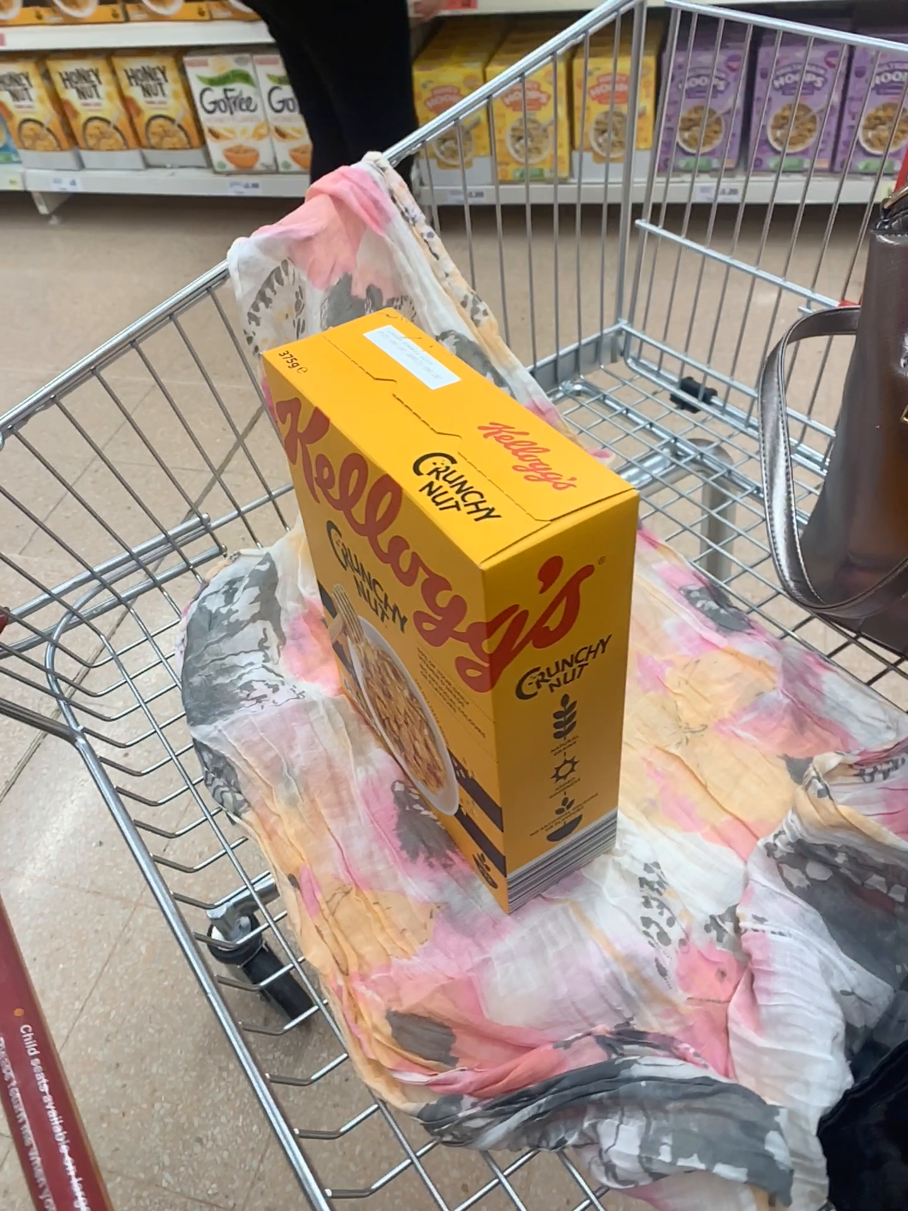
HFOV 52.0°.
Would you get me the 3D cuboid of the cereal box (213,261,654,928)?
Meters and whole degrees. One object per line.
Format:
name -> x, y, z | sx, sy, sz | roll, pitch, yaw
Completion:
cereal box -> -0.009, -0.002, 0.468 | 0.080, 0.258, 0.211 | -28, 48, -20
